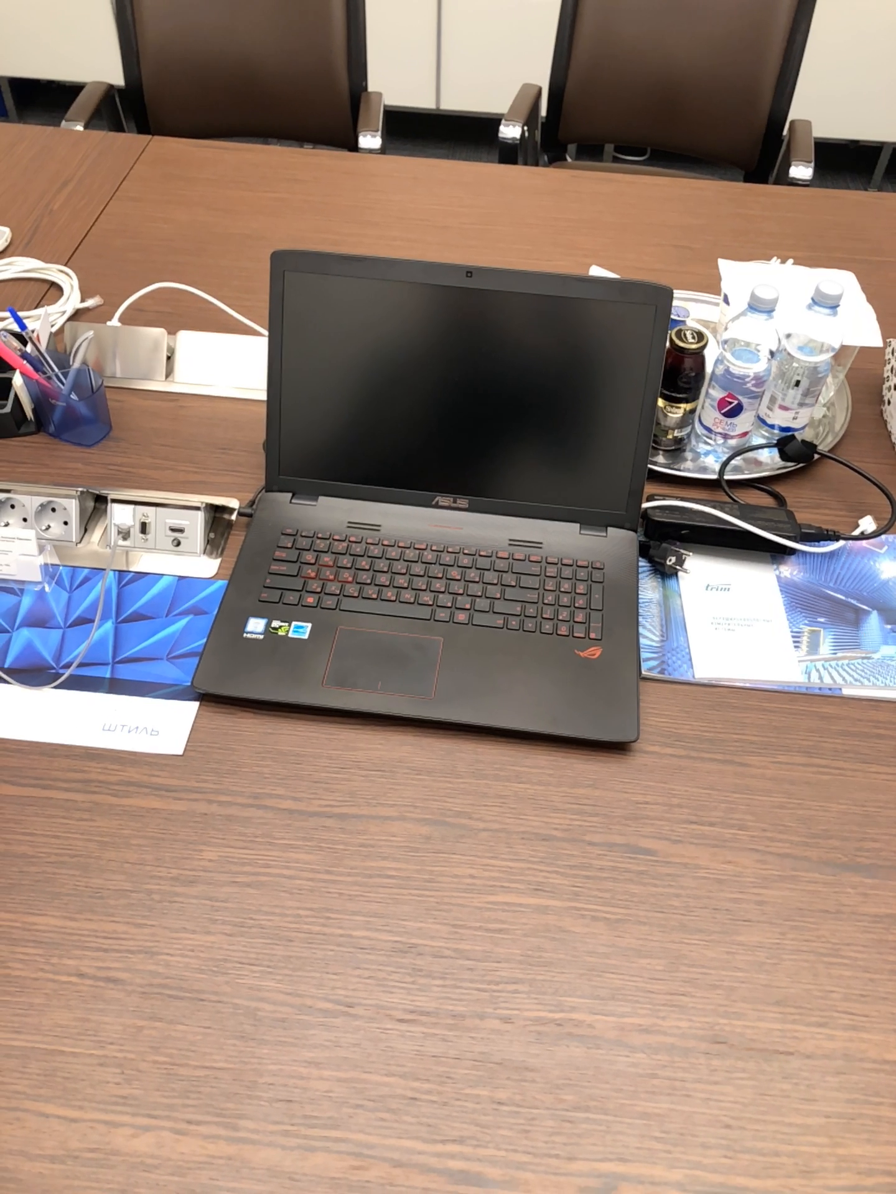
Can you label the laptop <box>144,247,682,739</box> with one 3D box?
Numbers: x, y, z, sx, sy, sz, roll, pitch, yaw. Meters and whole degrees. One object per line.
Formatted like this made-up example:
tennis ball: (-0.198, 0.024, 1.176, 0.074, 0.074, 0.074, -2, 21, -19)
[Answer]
laptop: (-0.008, -0.107, 0.878, 0.379, 0.194, 0.370, 6, 50, 3)
